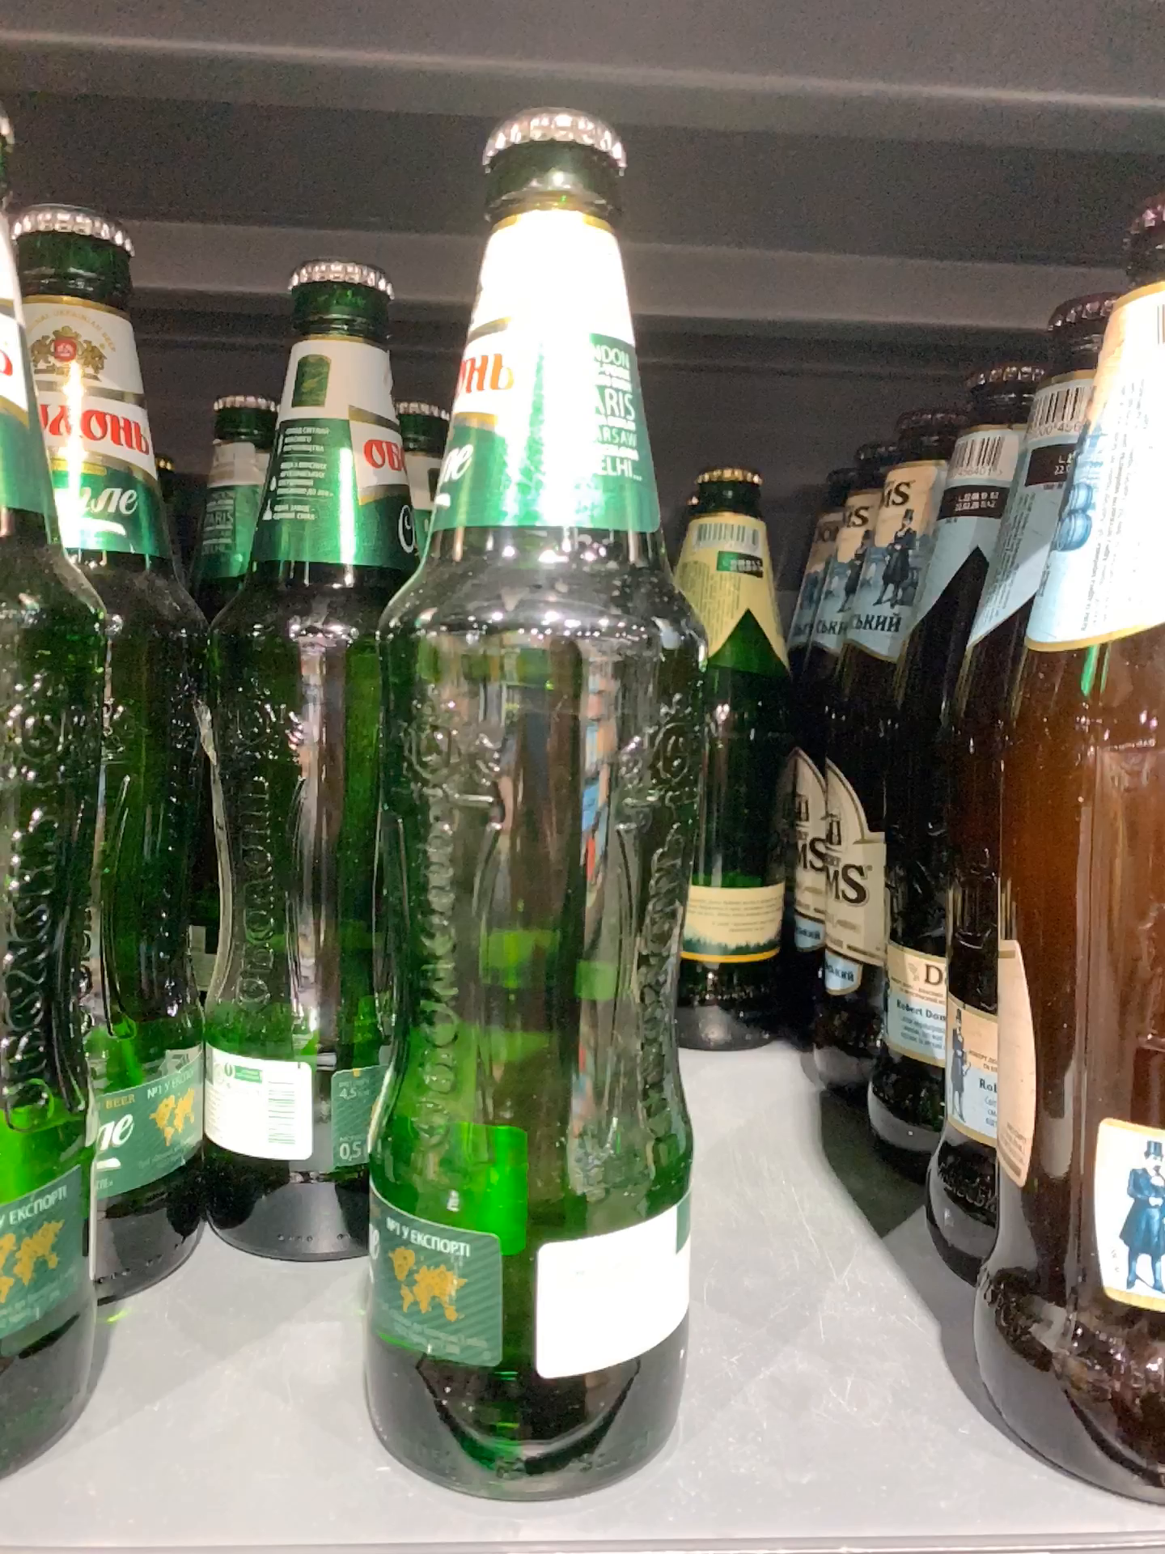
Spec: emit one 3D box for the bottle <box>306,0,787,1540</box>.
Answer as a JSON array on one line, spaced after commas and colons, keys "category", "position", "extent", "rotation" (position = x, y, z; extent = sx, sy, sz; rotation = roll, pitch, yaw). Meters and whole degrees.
[{"category": "bottle", "position": [-0.013, -0.002, 0.244], "extent": [0.070, 0.257, 0.073], "rotation": [1, 4, 0]}]
